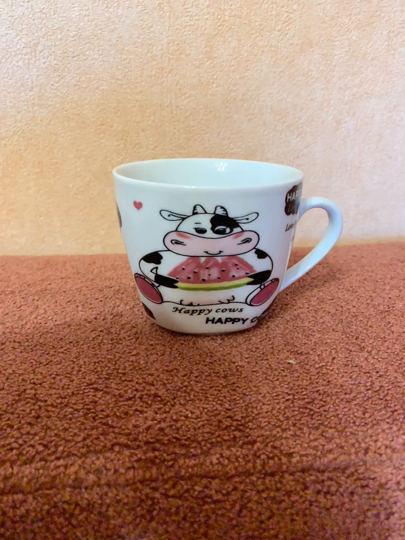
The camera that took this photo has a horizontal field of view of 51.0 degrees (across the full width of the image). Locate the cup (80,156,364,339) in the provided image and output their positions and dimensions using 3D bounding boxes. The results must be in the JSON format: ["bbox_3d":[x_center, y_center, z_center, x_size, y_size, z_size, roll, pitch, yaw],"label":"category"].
[{"bbox_3d":[0.006,-0.016,0.189,0.094,0.056,0.079,-1,23,0],"label":"cup"}]
